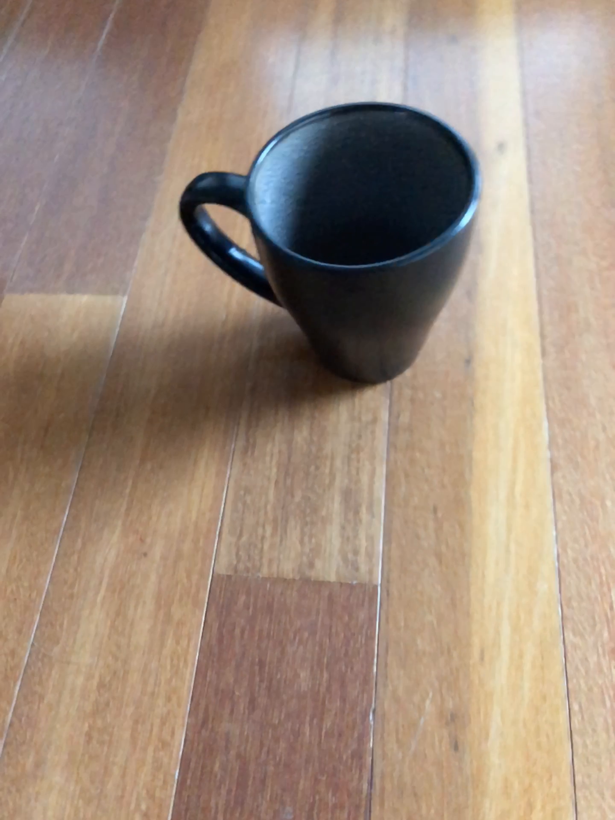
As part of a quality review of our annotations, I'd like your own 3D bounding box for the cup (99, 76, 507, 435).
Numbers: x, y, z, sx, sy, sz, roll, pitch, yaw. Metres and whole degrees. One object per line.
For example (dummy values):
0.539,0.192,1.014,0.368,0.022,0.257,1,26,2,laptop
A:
0.004,-0.068,0.310,0.137,0.100,0.090,16,64,15,cup
